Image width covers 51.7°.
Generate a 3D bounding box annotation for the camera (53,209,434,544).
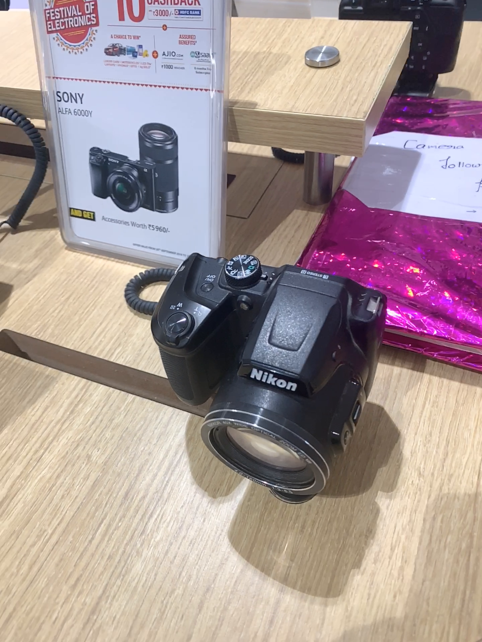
[{"bbox_3d":[0.007,0.021,0.235,0.130,0.090,0.090,15,52,19],"label":"camera"}]
